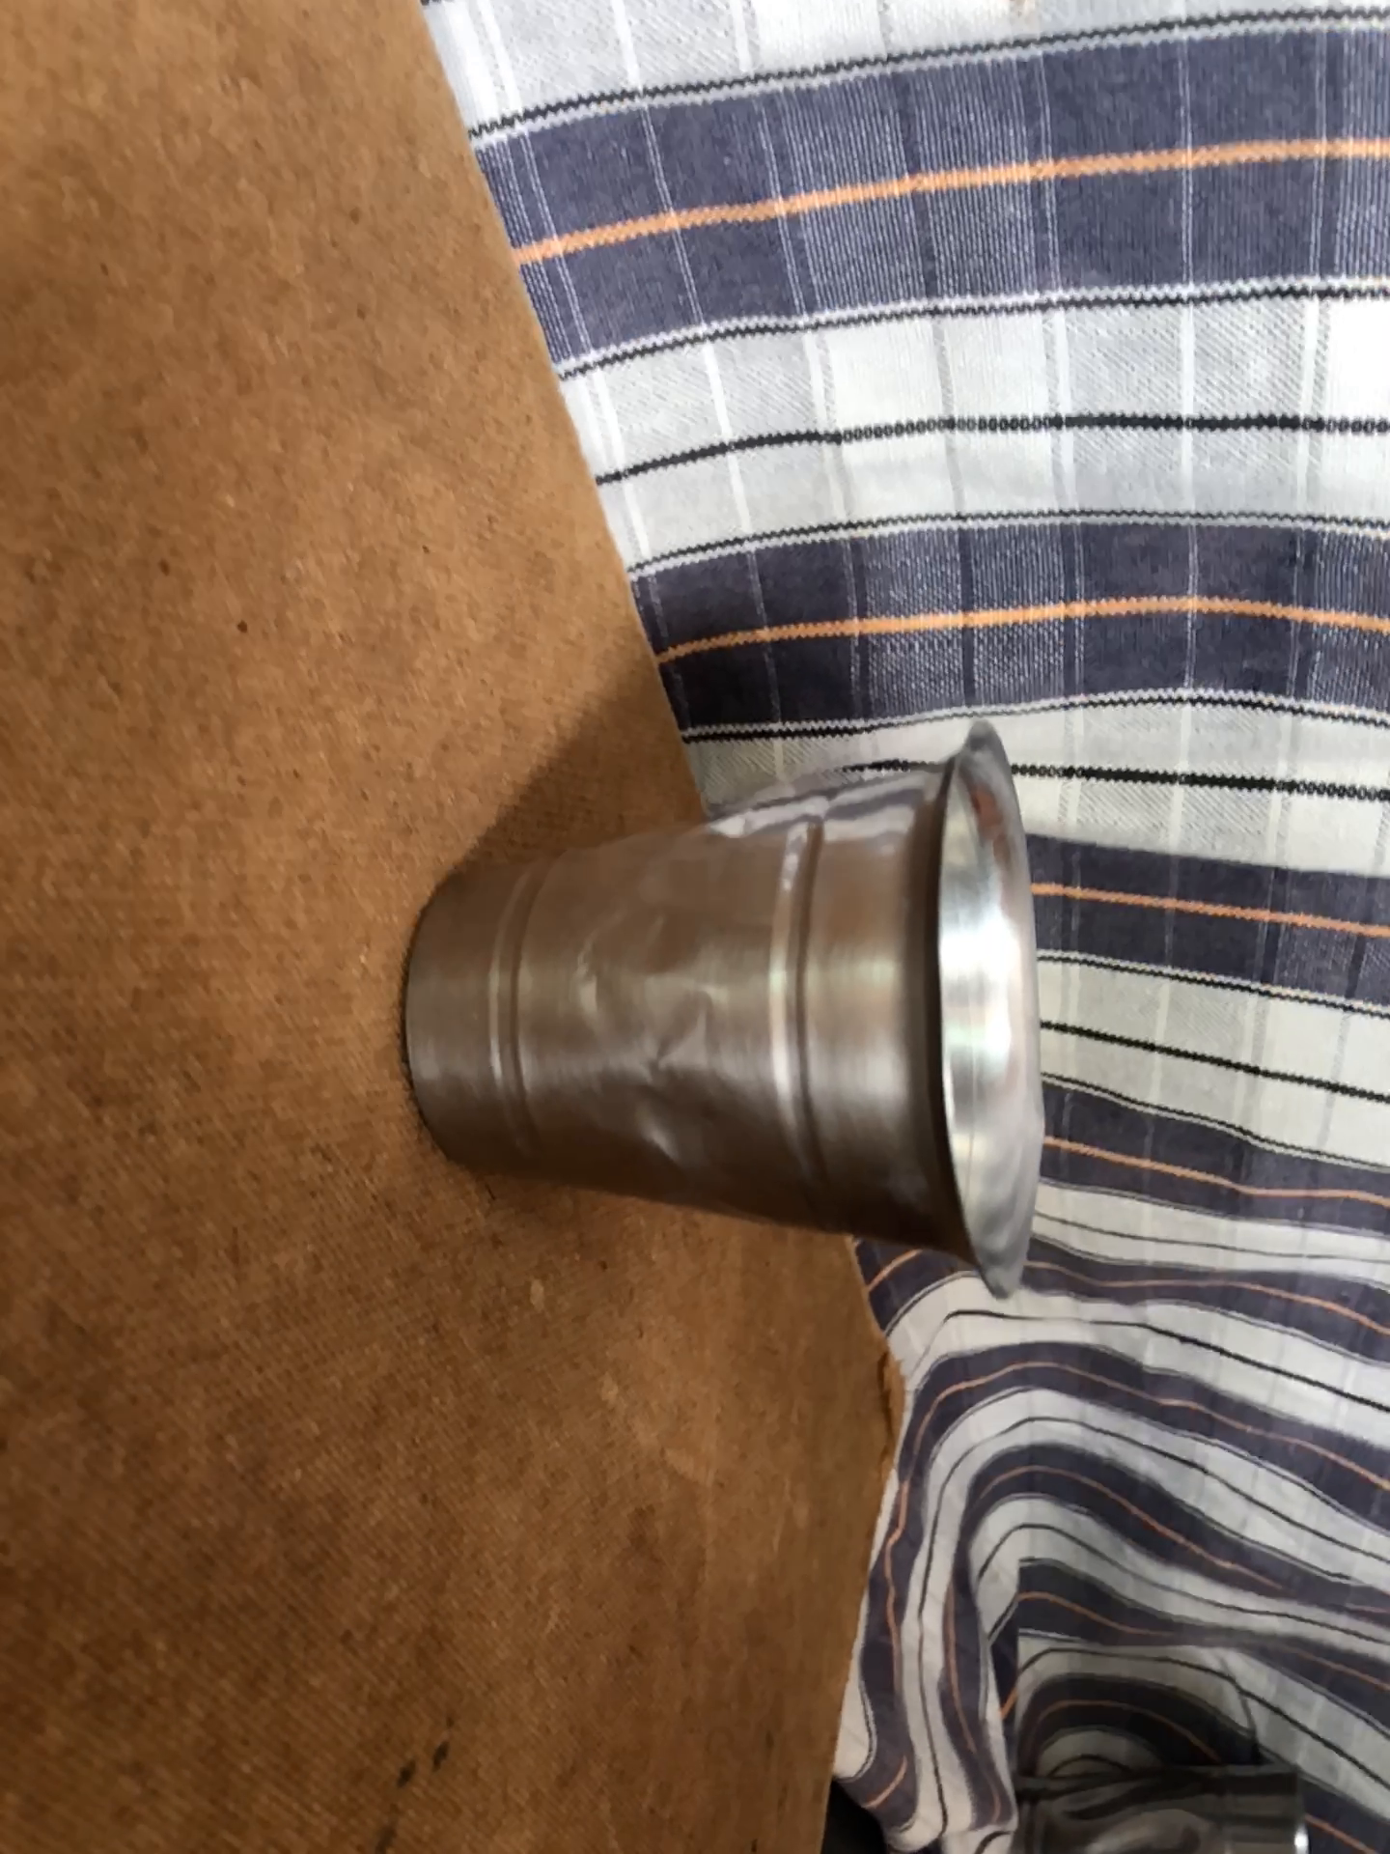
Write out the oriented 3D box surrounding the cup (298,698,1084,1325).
[{"bbox_3d":[0.006,0.008,0.210,0.070,0.080,0.060,-41,125,-66],"label":"cup"}]
